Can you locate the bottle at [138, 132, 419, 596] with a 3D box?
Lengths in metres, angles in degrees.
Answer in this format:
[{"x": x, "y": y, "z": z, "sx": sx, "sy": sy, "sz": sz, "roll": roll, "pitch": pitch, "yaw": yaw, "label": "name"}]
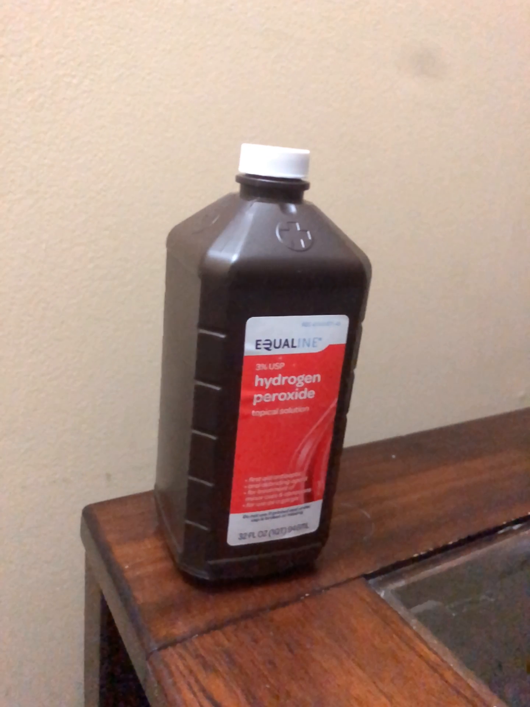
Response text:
[{"x": -0.005, "y": 0.001, "z": 0.281, "sx": 0.090, "sy": 0.190, "sz": 0.080, "roll": -3, "pitch": 21, "yaw": -23, "label": "bottle"}]
